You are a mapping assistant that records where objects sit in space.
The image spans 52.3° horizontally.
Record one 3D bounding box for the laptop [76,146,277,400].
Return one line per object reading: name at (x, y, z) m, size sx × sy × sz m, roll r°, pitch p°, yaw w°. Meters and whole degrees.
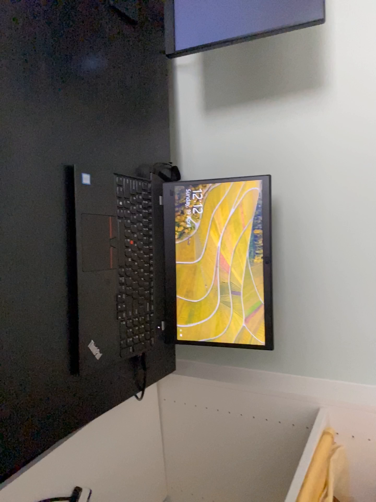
laptop at (-0.003, 0.030, 0.710) m, size 0.295 × 0.231 × 0.351 m, roll -2°, pitch 91°, yaw -59°
